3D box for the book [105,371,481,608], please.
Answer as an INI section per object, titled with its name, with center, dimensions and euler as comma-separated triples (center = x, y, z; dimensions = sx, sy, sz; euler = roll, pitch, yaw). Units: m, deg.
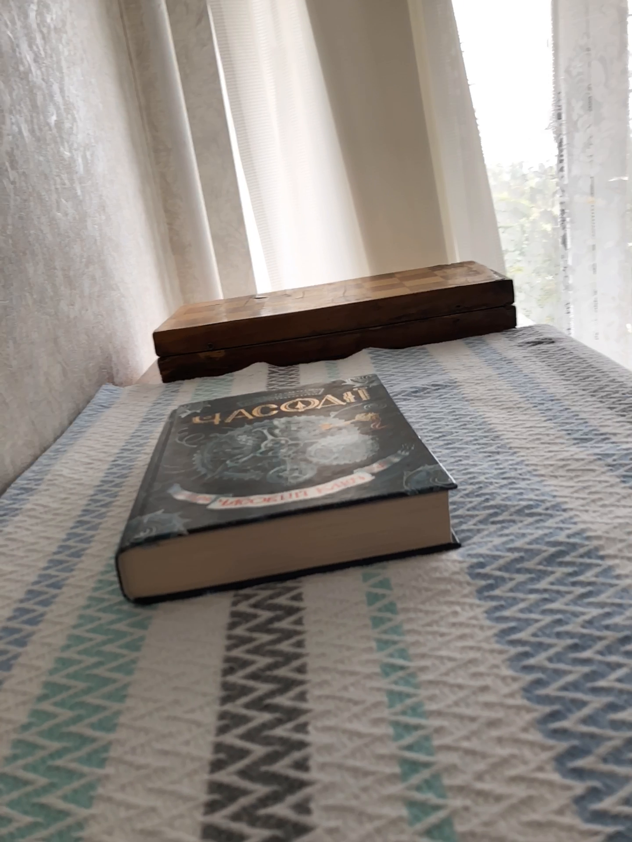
[book]
center = -0.020, 0.025, 0.444
dimensions = 0.178, 0.032, 0.239
euler = -9, 18, -3
